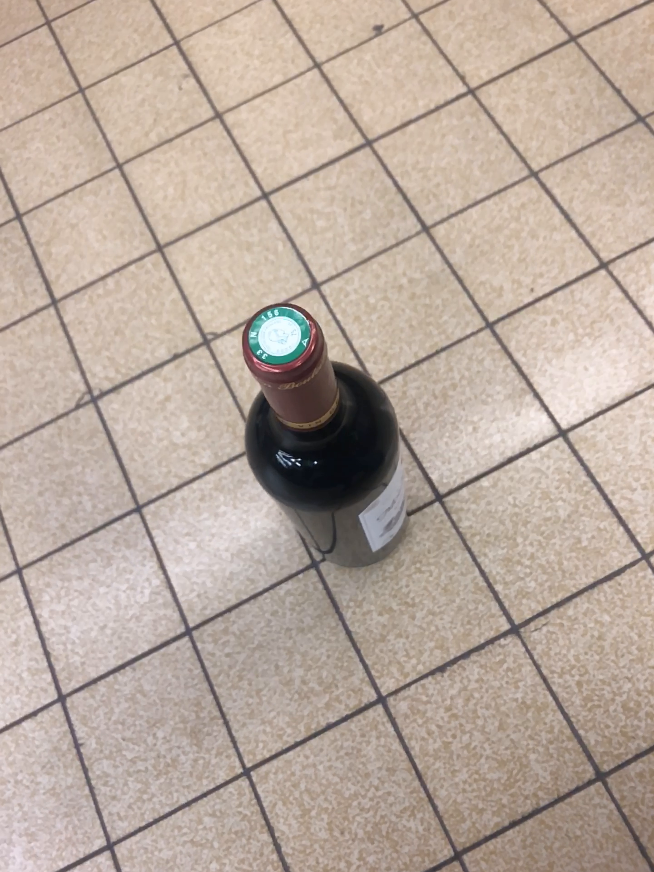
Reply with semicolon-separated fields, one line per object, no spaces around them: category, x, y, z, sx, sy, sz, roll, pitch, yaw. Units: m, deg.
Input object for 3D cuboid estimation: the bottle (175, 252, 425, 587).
bottle;0.010;0.020;0.375;0.080;0.282;0.080;-2;71;7
